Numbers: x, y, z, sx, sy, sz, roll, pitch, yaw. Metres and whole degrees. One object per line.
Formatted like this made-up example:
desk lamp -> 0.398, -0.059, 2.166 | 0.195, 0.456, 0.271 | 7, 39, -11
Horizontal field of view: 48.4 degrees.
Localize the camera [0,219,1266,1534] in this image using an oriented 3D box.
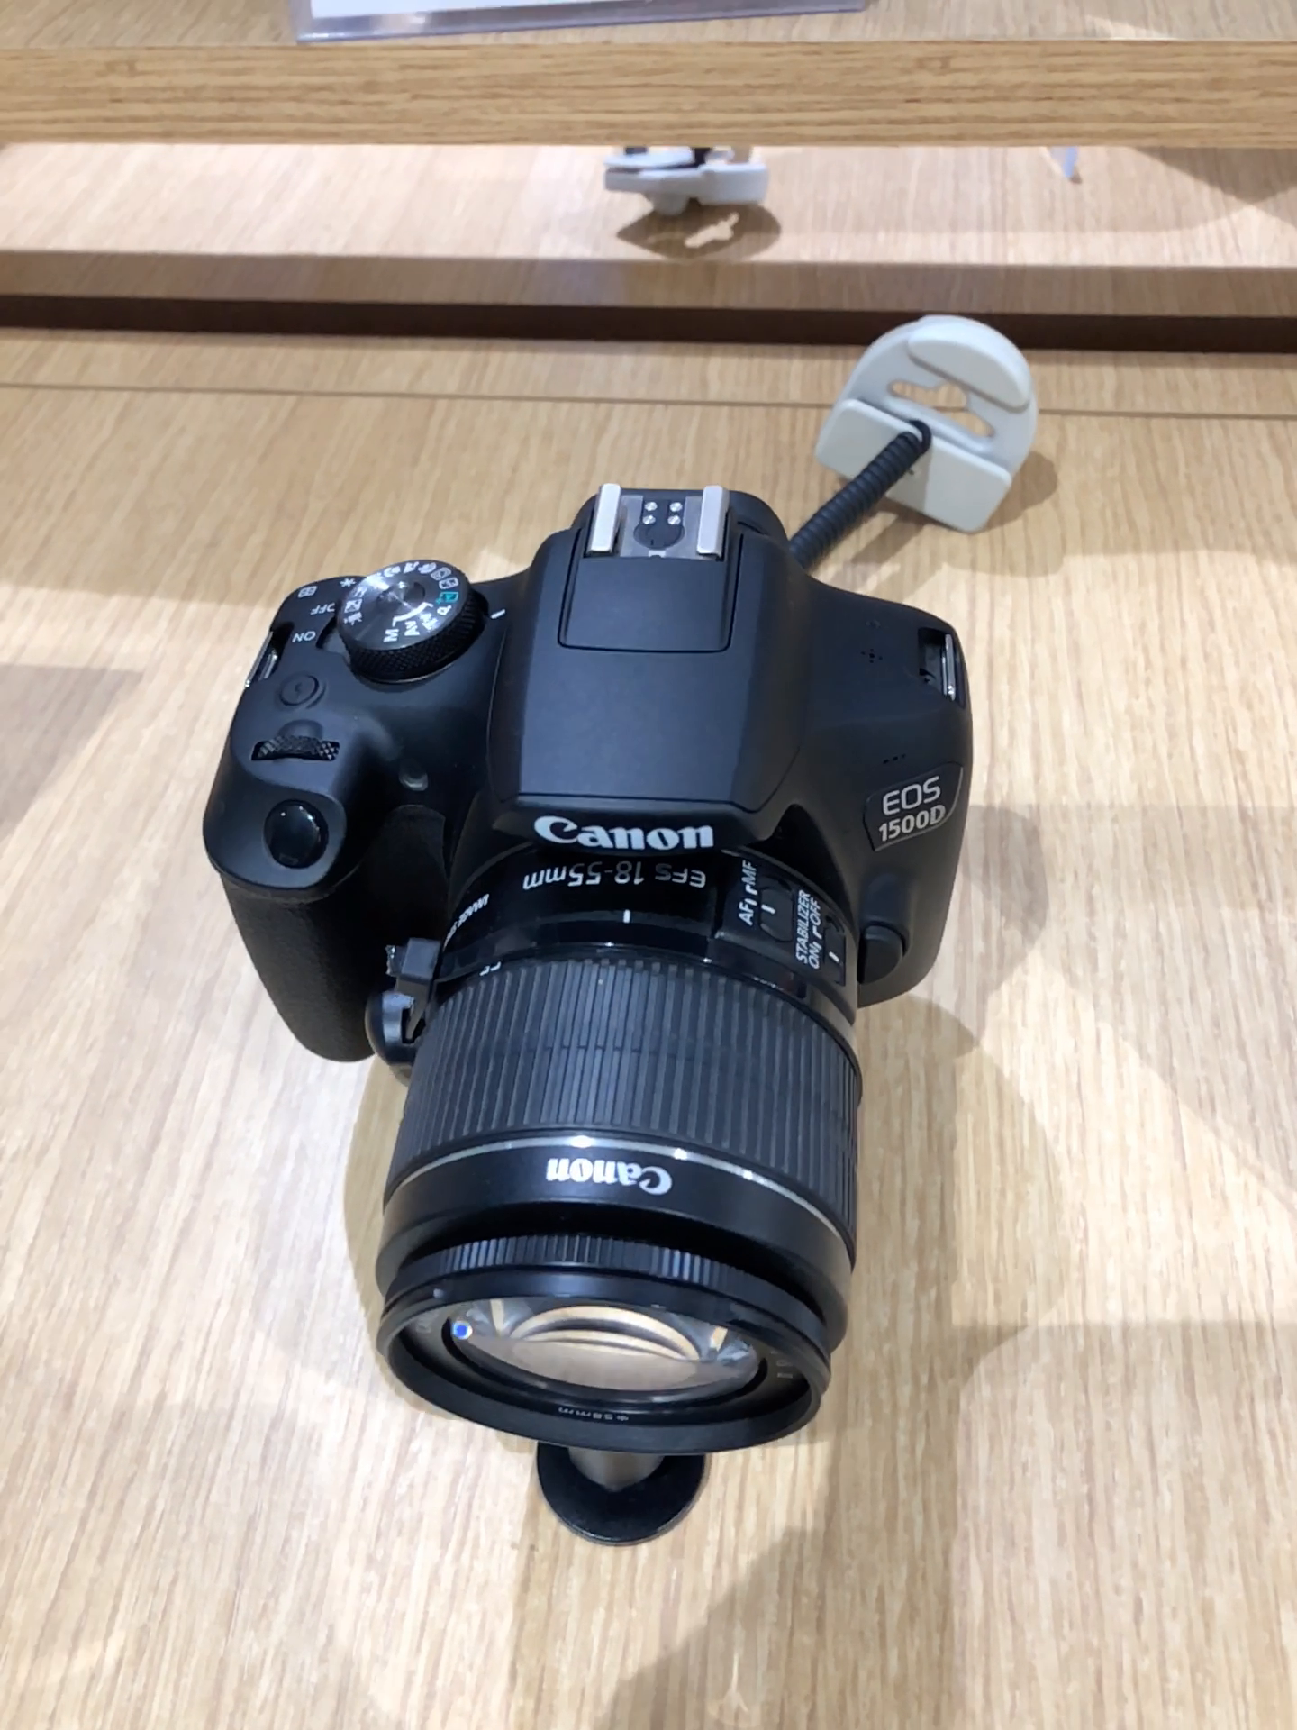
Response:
camera -> -0.005, -0.010, 0.236 | 0.140, 0.099, 0.191 | 1, 49, 5
